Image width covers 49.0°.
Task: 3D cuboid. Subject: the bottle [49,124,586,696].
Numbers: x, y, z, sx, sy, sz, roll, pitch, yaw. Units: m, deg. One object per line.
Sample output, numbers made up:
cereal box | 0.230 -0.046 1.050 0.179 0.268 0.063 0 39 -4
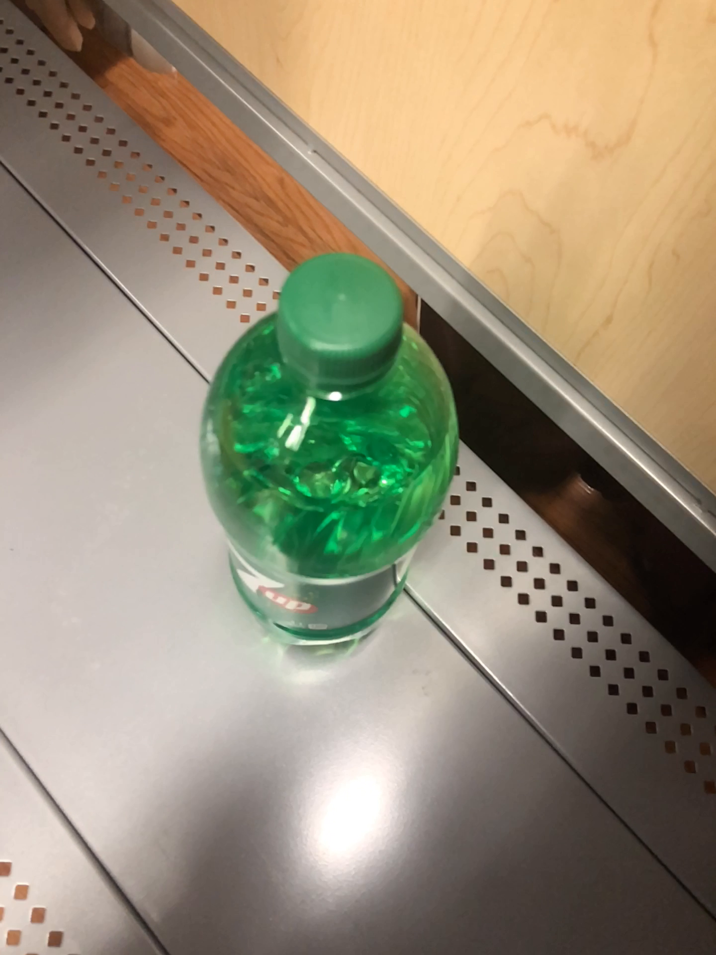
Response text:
bottle | -0.016 0.007 0.298 0.100 0.239 0.080 33 70 9
